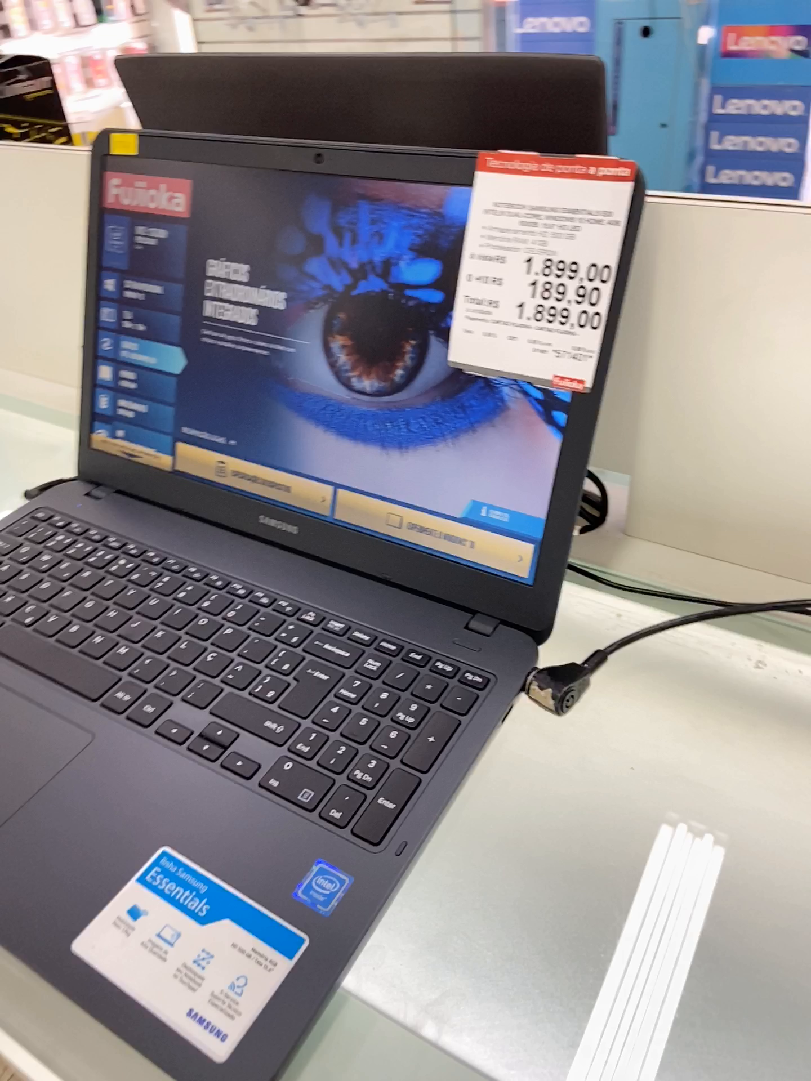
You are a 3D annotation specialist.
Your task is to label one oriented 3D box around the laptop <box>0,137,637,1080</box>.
[{"bbox_3d":[-0.130,-0.041,0.412,0.367,0.207,0.348,17,42,28],"label":"laptop"}]
